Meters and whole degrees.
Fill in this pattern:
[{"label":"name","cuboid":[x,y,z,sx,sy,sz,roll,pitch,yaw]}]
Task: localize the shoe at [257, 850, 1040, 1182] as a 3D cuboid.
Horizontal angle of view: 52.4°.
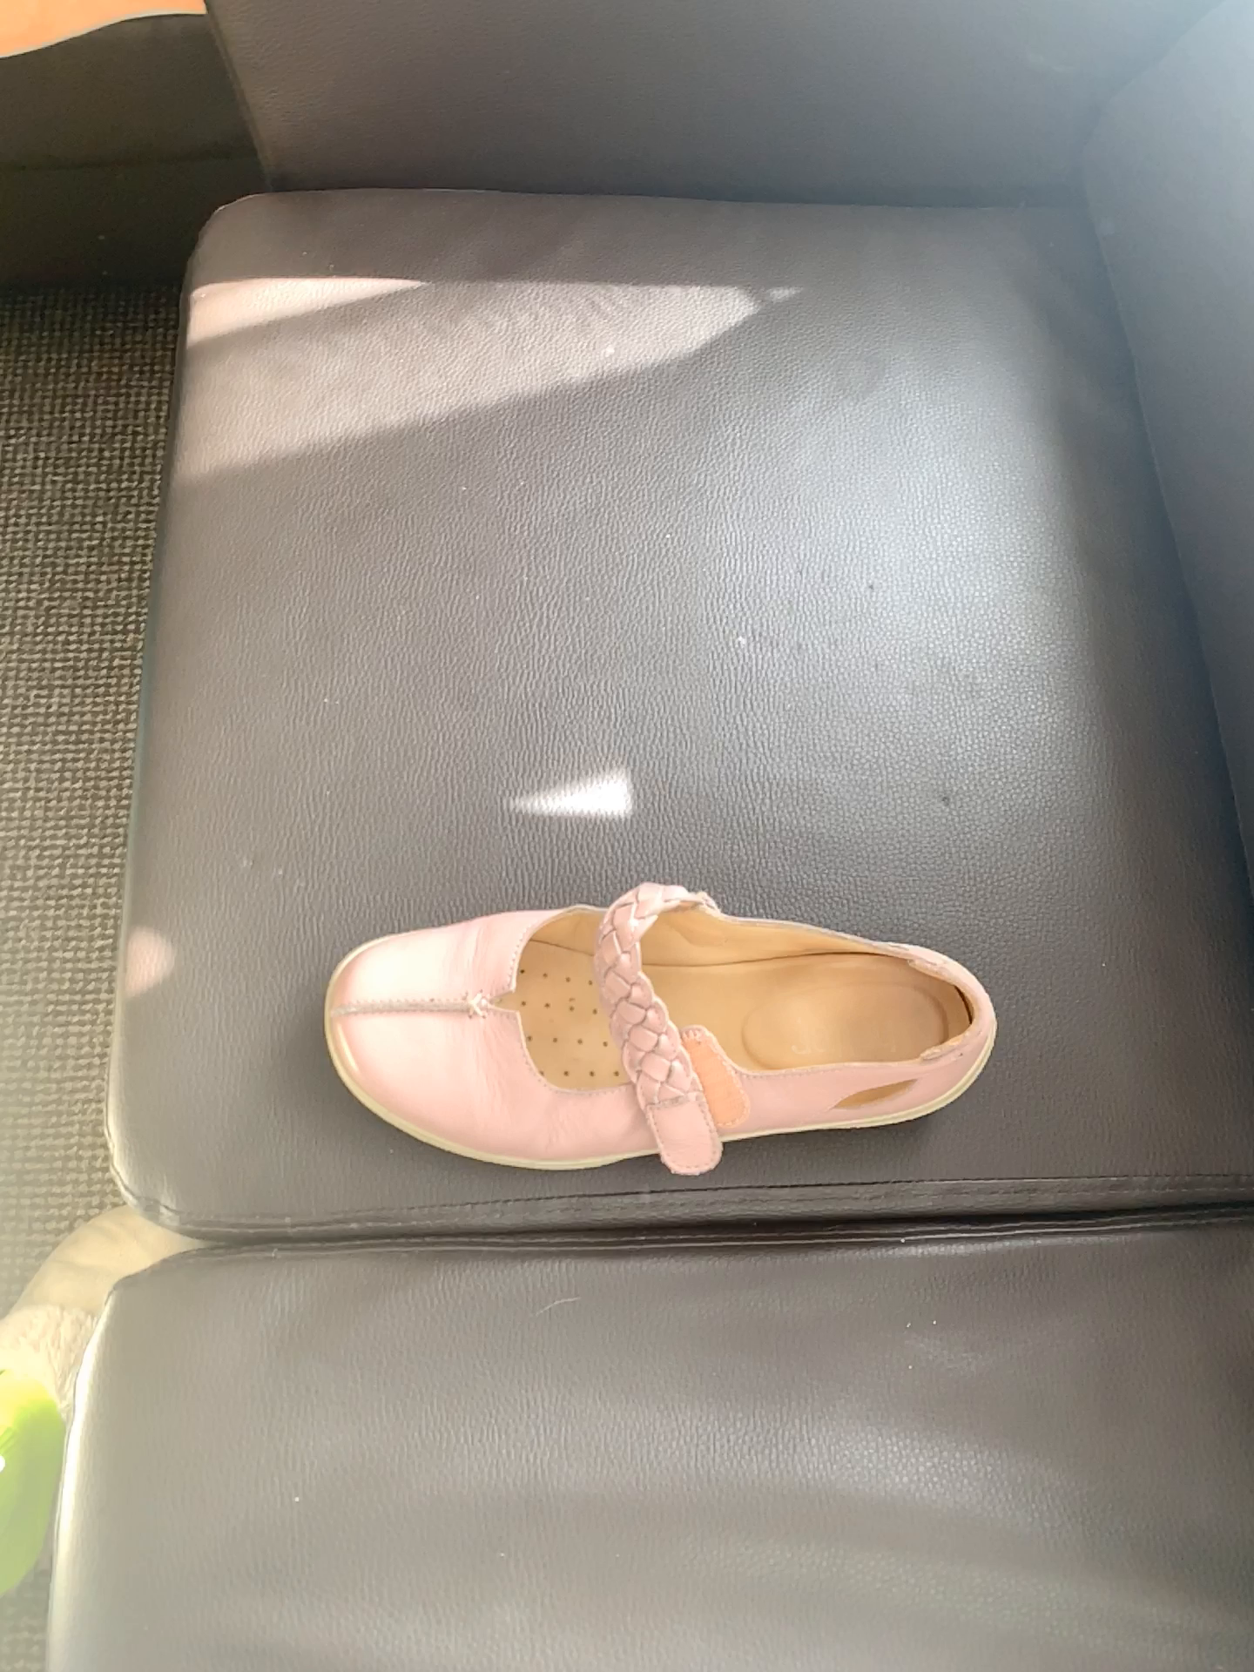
[{"label":"shoe","cuboid":[0.008,0.072,0.488,0.260,0.100,0.105,1,71,2]}]
